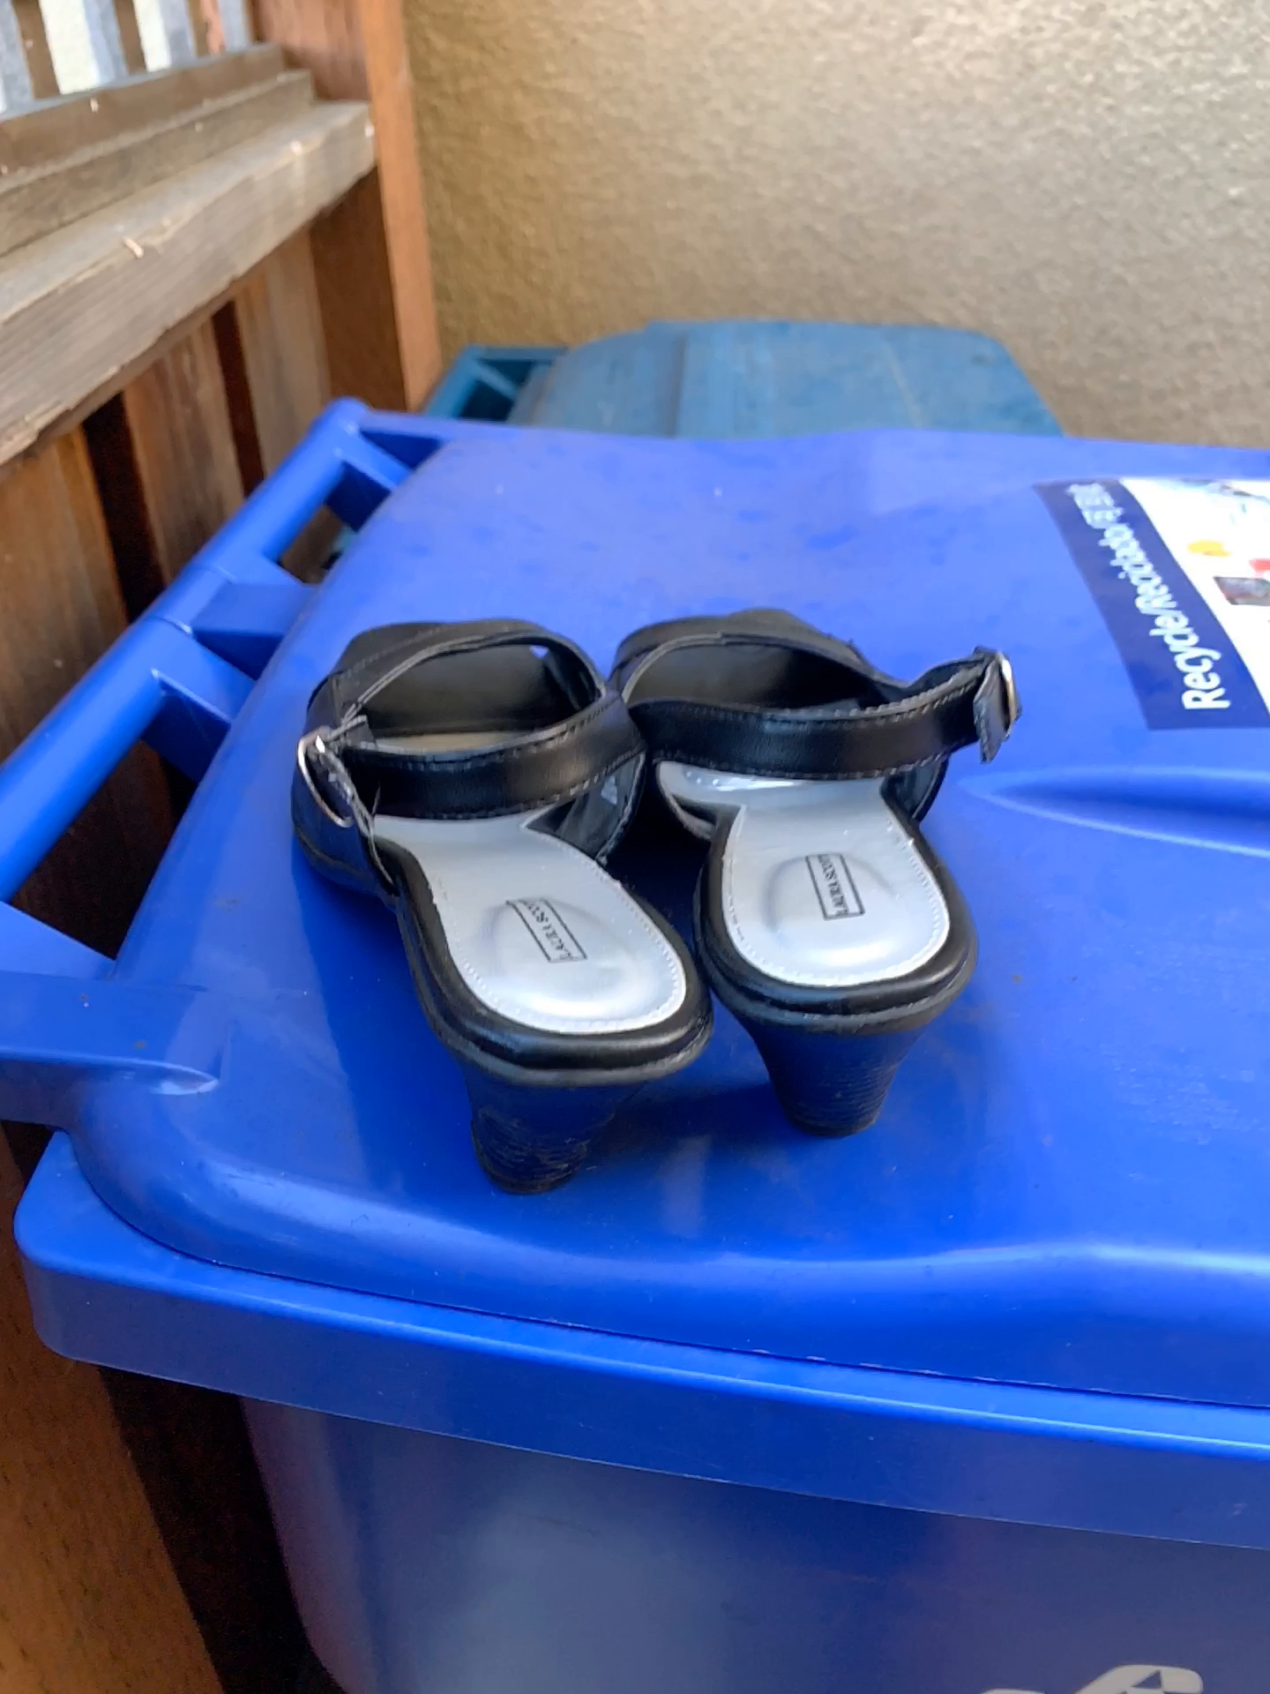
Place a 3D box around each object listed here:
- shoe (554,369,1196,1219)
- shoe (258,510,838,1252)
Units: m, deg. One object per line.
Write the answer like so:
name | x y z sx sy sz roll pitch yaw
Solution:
shoe | 0.035 -0.040 0.349 0.090 0.099 0.252 -5 34 -5
shoe | -0.048 -0.017 0.357 0.090 0.089 0.252 0 25 -19
